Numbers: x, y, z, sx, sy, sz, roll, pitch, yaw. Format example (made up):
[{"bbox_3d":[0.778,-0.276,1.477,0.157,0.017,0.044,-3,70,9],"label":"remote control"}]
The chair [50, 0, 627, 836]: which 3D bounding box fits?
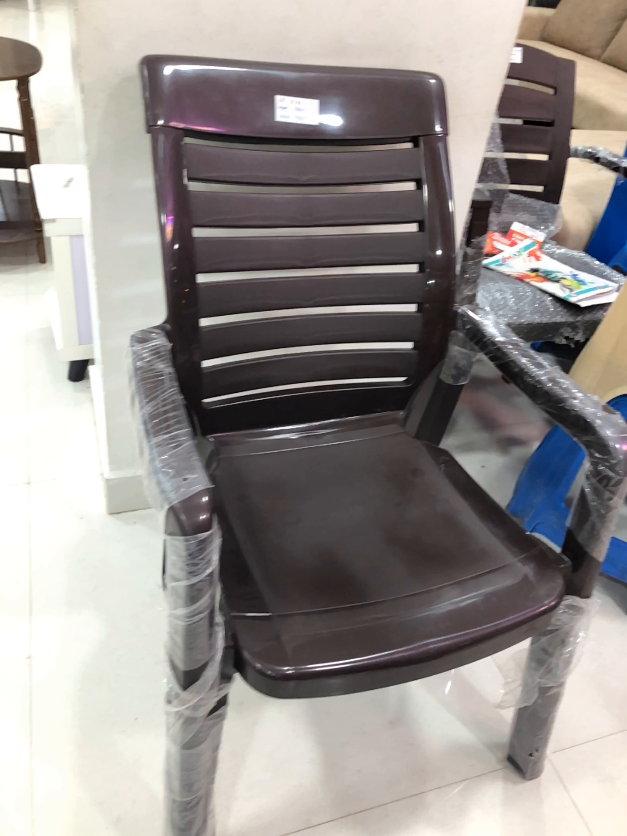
[{"bbox_3d":[0.030,0.023,0.997,0.642,1.003,0.673,-7,40,-20],"label":"chair"}]
